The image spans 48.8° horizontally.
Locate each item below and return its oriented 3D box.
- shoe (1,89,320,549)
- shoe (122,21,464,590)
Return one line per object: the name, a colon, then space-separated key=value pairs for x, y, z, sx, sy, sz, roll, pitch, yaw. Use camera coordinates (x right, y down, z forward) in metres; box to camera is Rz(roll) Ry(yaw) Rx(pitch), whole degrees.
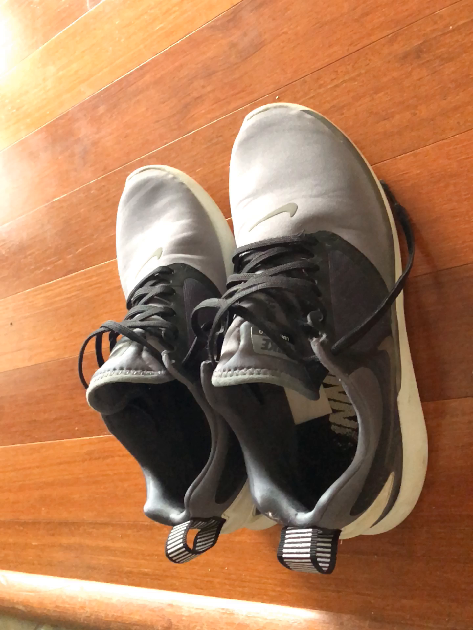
shoe: x=-0.052 y=0.005 z=0.339 sx=0.110 sy=0.100 sz=0.240 roll=-23 pitch=79 yaw=32
shoe: x=0.031 y=0.000 z=0.287 sx=0.110 sy=0.100 sz=0.240 roll=-14 pitch=83 yaw=33
